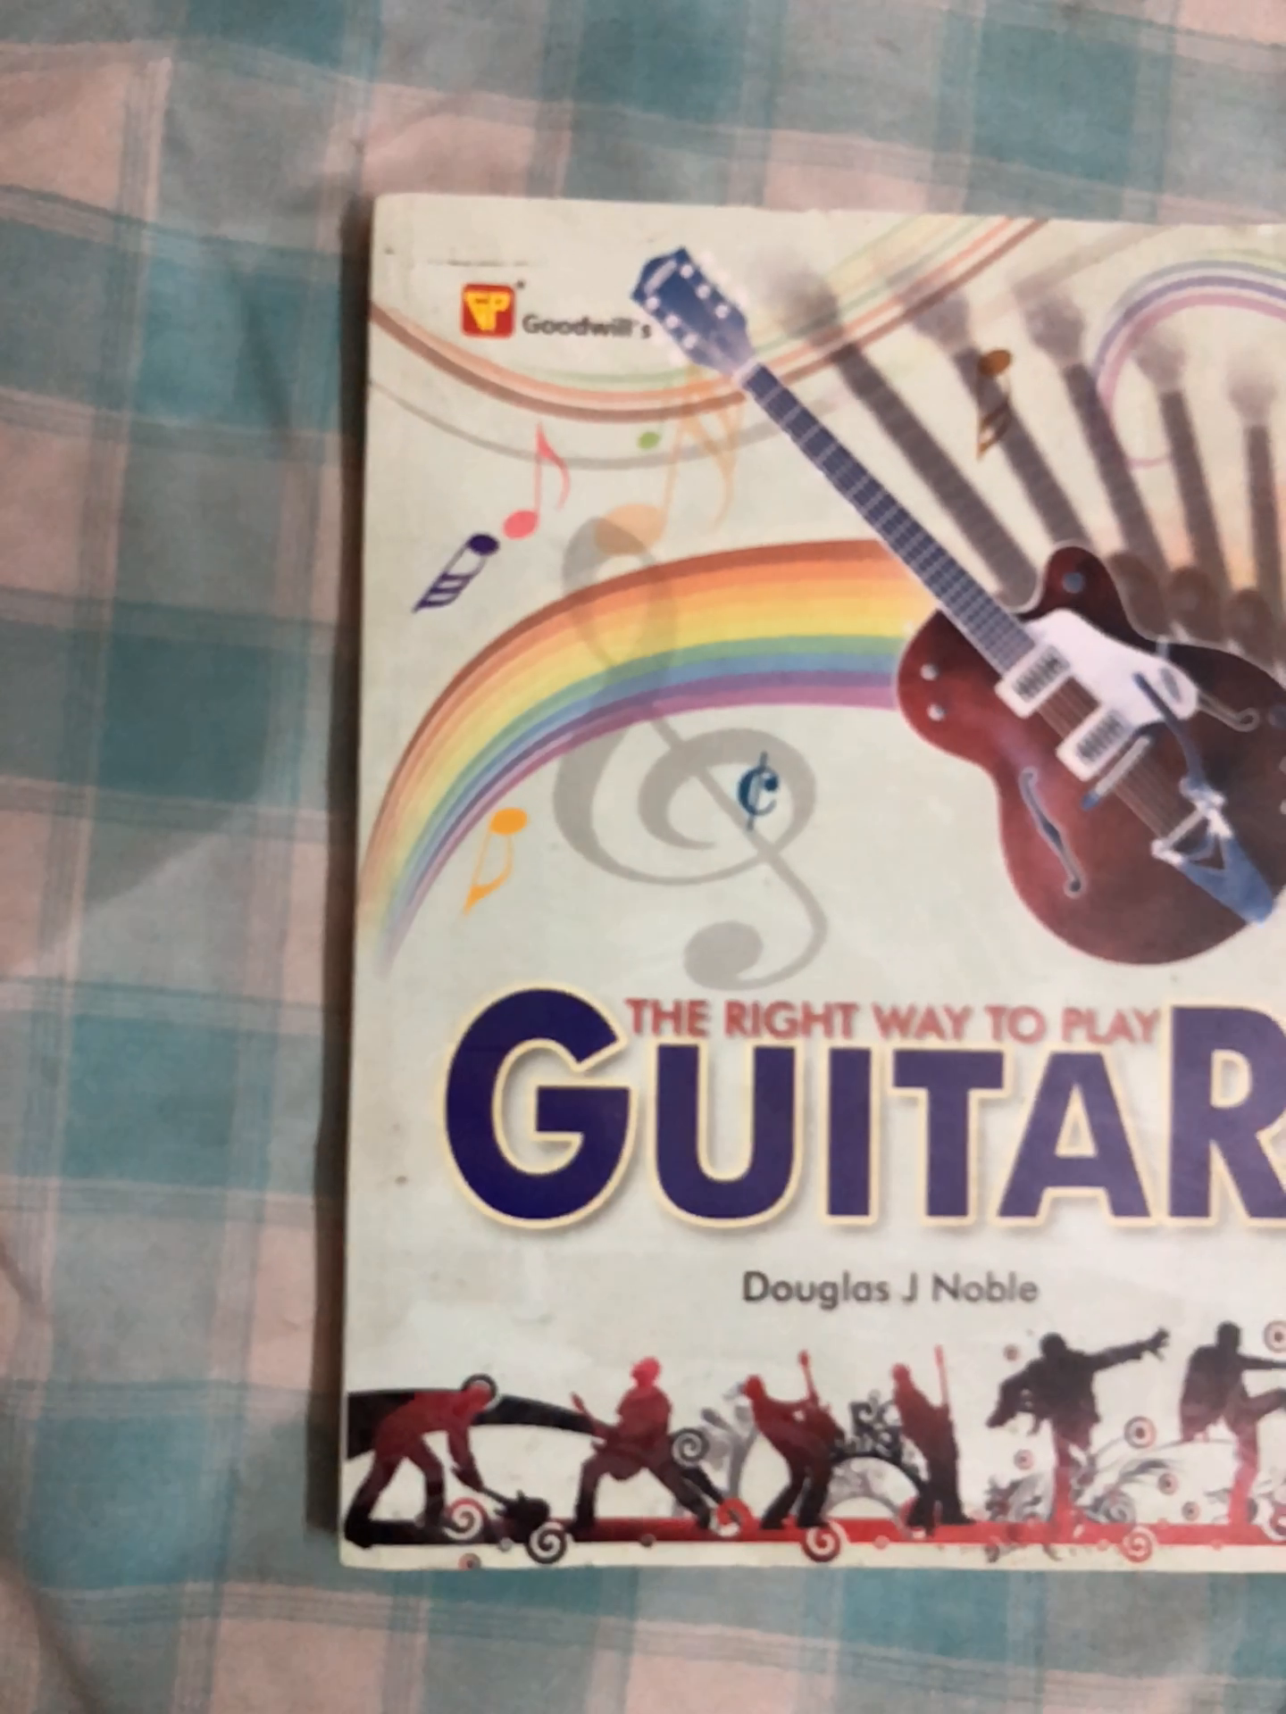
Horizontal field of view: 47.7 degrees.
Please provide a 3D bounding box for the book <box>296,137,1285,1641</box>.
[{"bbox_3d":[0.037,0.004,0.251,0.180,0.030,0.240,1,87,-3],"label":"book"}]
